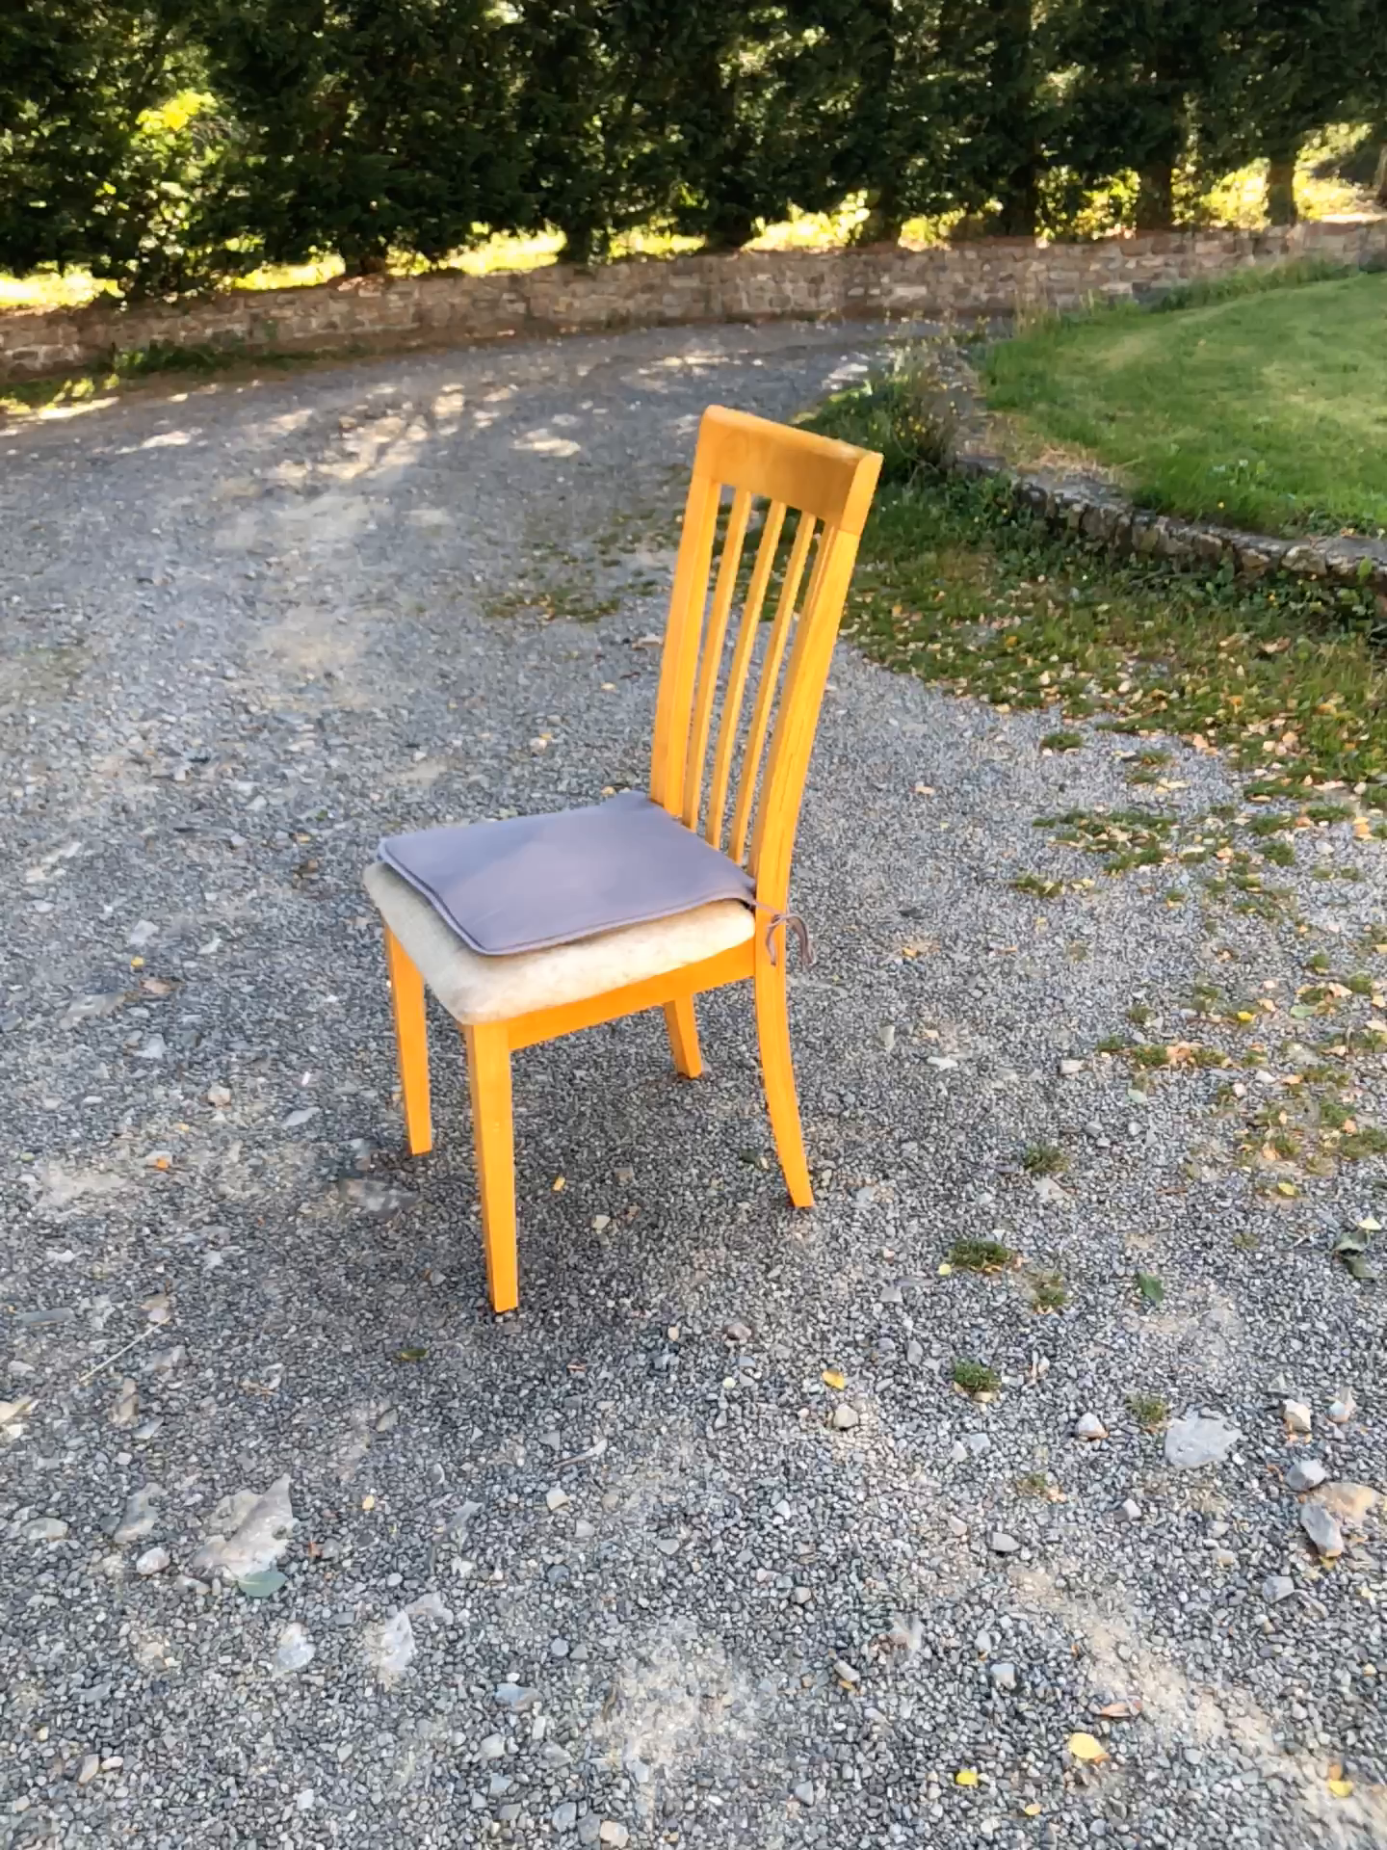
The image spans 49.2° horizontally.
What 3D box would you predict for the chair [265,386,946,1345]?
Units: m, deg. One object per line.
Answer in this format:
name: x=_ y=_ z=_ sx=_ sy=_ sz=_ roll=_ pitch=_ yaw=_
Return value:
chair: x=-0.106 y=-0.103 z=1.941 sx=0.612 sy=0.994 sz=0.512 roll=-15 pitch=31 yaw=-23
